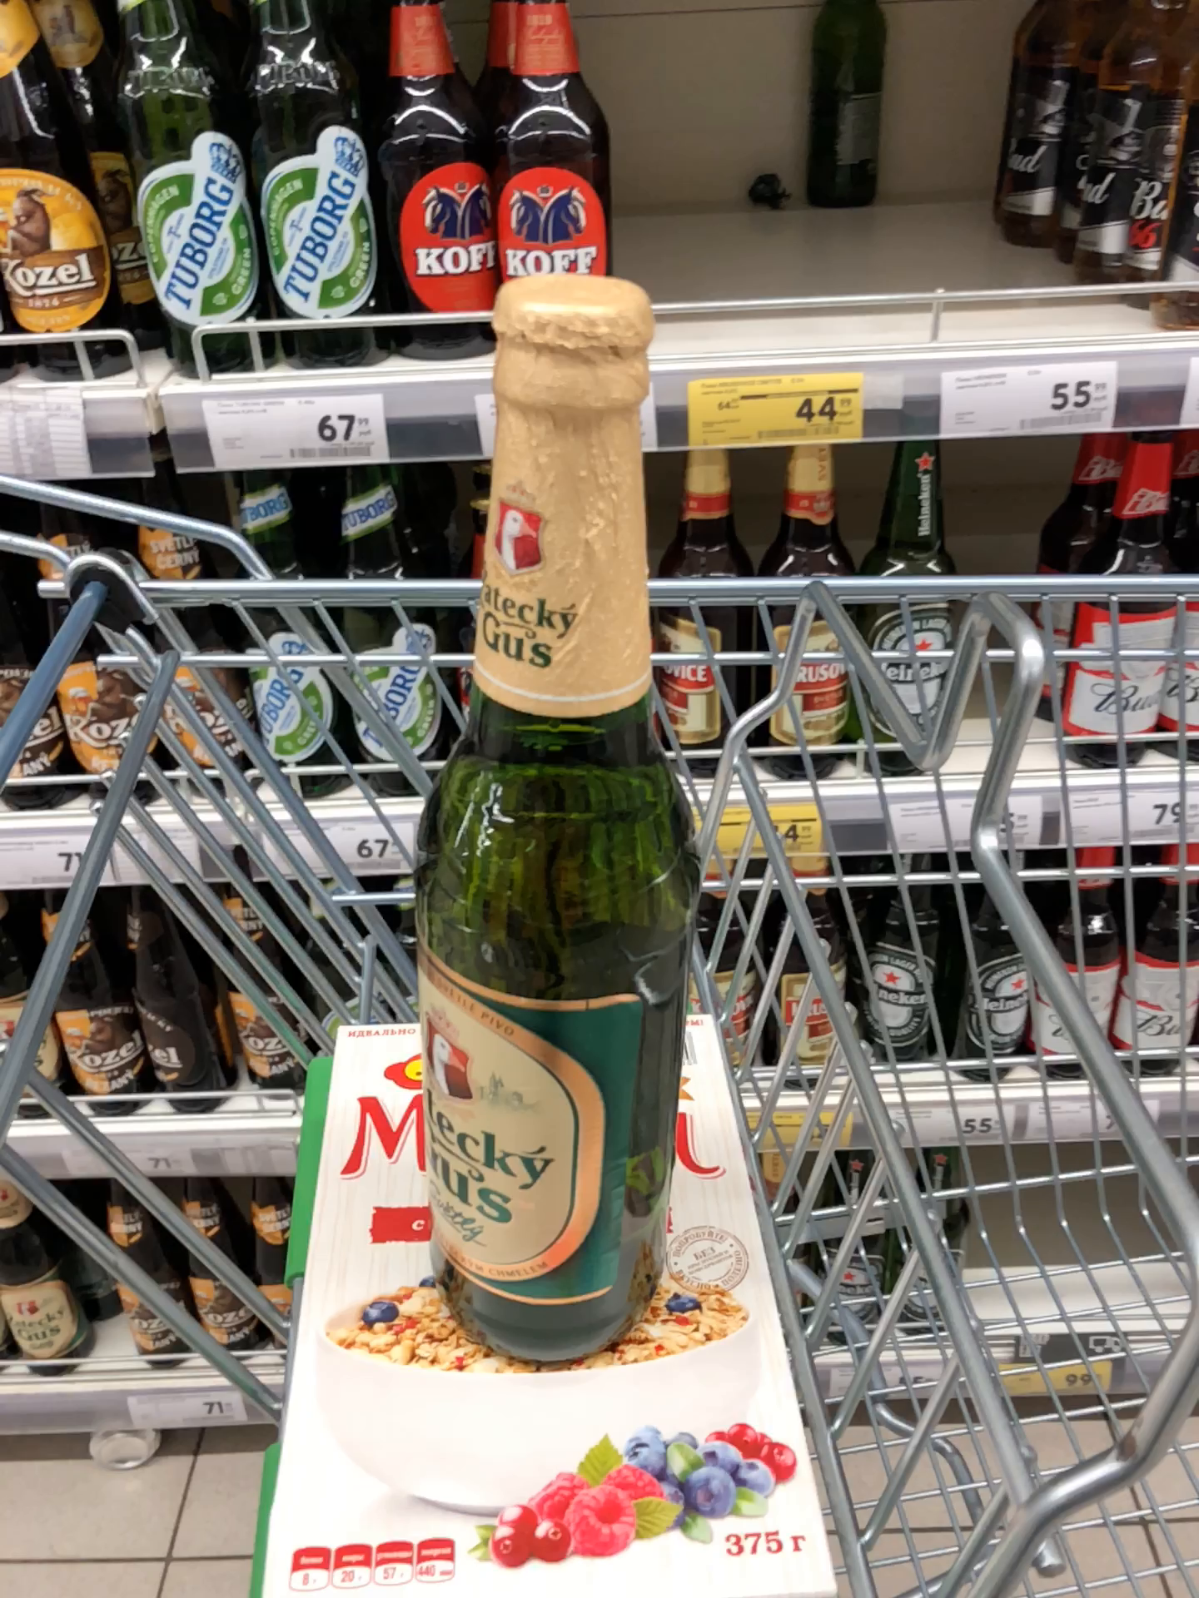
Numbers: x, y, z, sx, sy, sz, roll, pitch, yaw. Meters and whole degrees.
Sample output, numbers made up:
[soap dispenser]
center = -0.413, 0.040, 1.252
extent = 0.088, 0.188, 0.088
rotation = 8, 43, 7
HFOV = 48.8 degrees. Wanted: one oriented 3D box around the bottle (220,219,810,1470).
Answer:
[bottle]
center = -0.013, 0.023, 0.298
extent = 0.070, 0.268, 0.080
rotation = -21, 37, -27
